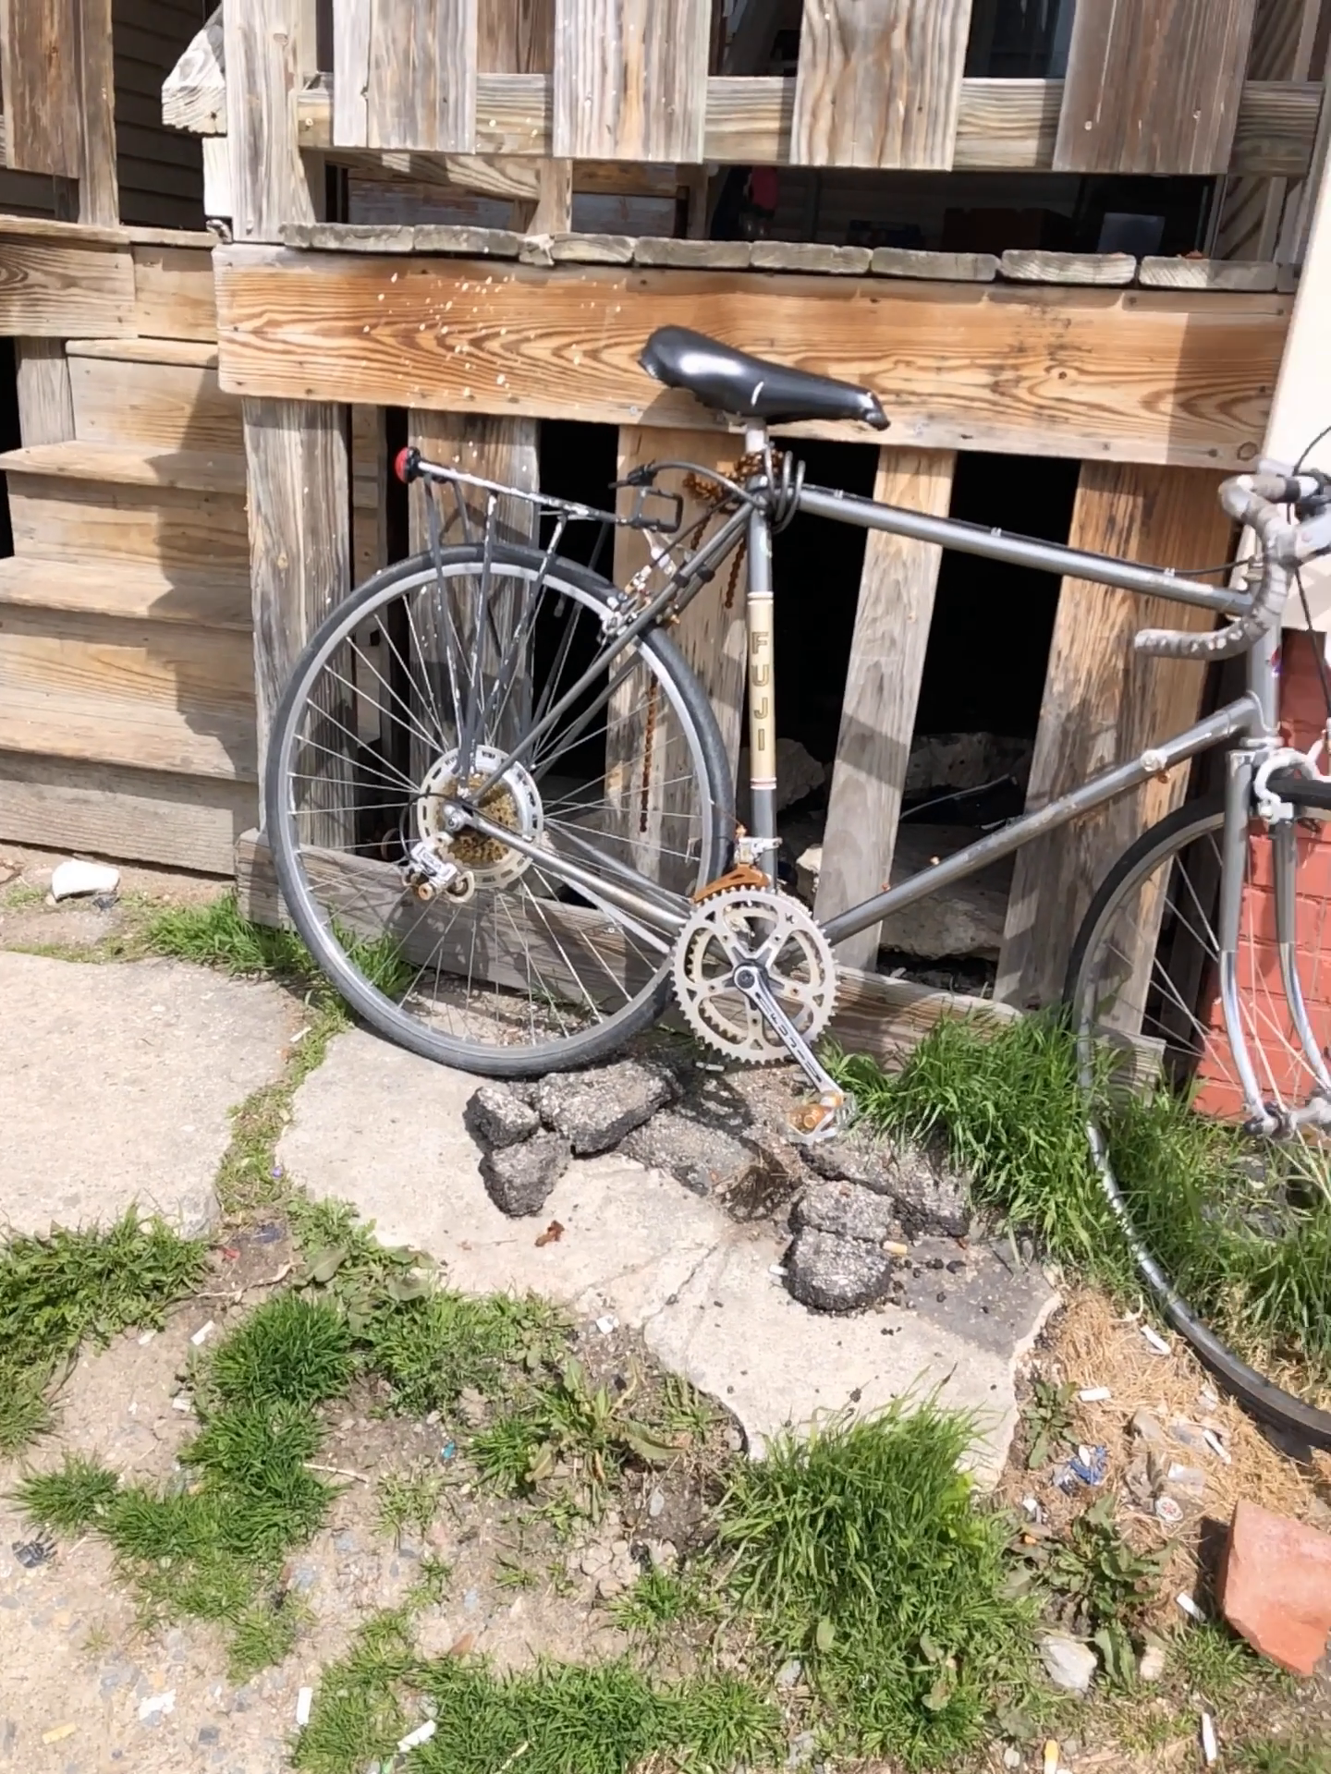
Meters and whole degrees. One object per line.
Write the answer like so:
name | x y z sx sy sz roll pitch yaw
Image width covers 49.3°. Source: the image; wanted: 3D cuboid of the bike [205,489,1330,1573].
bike | 0.151 -0.017 1.275 1.201 0.479 0.400 17 24 29
